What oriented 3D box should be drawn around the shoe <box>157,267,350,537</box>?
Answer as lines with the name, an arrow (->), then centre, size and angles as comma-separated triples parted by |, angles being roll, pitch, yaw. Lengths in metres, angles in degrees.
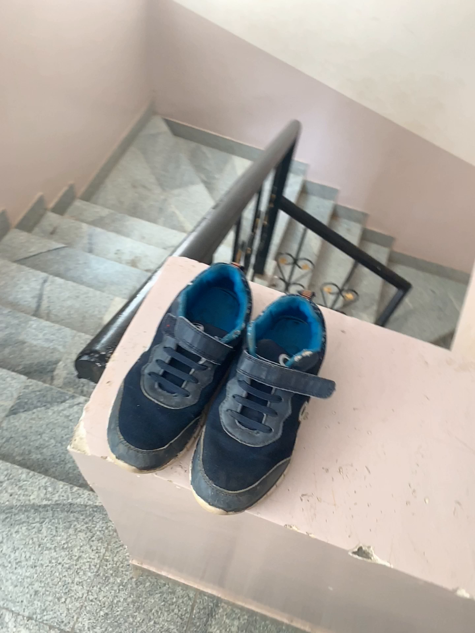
shoe -> 0.021, 0.072, 0.466 | 0.100, 0.080, 0.221 | 22, 57, 7

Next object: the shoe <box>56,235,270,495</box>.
shoe -> -0.059, 0.037, 0.466 | 0.090, 0.080, 0.221 | 24, 57, 9
